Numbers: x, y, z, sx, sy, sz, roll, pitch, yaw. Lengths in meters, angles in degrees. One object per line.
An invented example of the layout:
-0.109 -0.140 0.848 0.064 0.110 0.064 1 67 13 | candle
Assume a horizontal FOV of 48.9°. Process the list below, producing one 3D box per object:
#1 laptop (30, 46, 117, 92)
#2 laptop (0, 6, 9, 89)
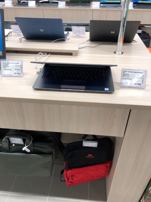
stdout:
0.000 -0.156 0.774 0.344 0.100 0.222 3 38 4 | laptop
-0.578 -0.277 0.787 0.348 0.231 0.379 4 37 2 | laptop
